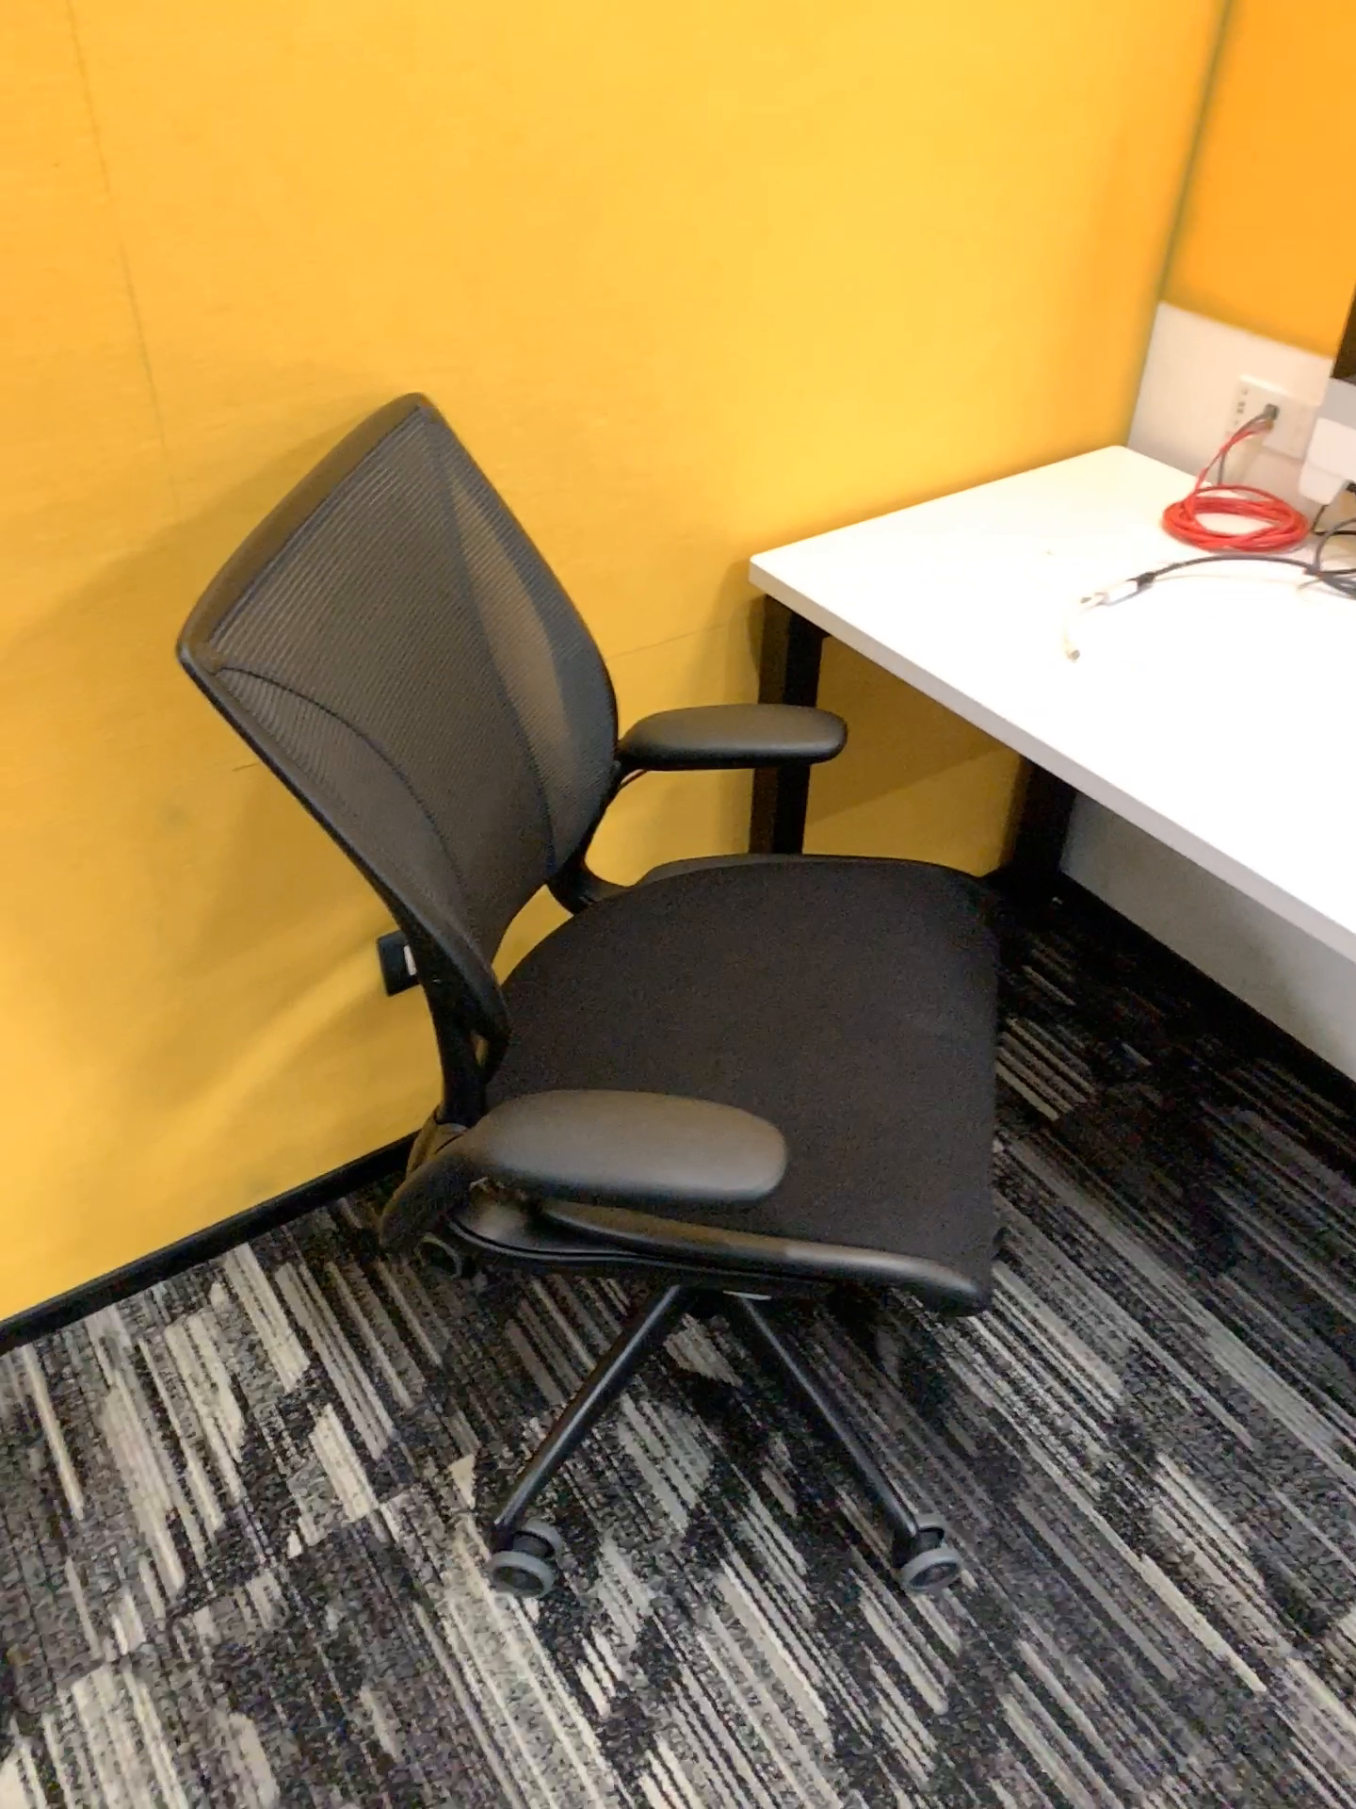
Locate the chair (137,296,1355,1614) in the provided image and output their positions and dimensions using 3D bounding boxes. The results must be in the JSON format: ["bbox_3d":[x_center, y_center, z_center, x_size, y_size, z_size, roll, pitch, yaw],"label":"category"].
[{"bbox_3d":[0.059,0.047,1.075,0.570,0.813,0.545,5,38,5],"label":"chair"}]
